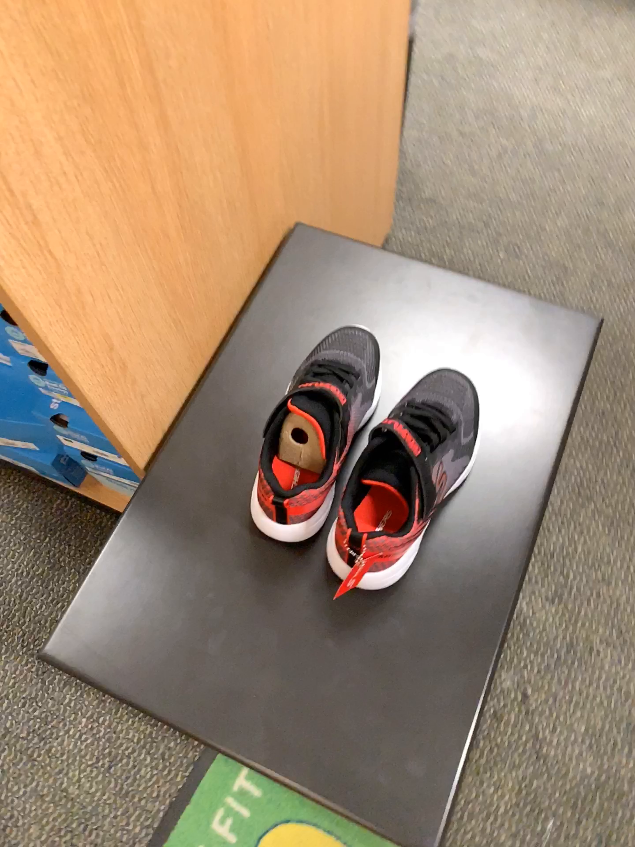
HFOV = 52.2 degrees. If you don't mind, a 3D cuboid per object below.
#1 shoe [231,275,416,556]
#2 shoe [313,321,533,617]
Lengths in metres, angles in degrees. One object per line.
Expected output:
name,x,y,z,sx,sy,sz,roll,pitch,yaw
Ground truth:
shoe,0.013,-0.013,0.610,0.090,0.080,0.240,16,65,11
shoe,0.098,0.037,0.590,0.098,0.080,0.240,24,67,14
